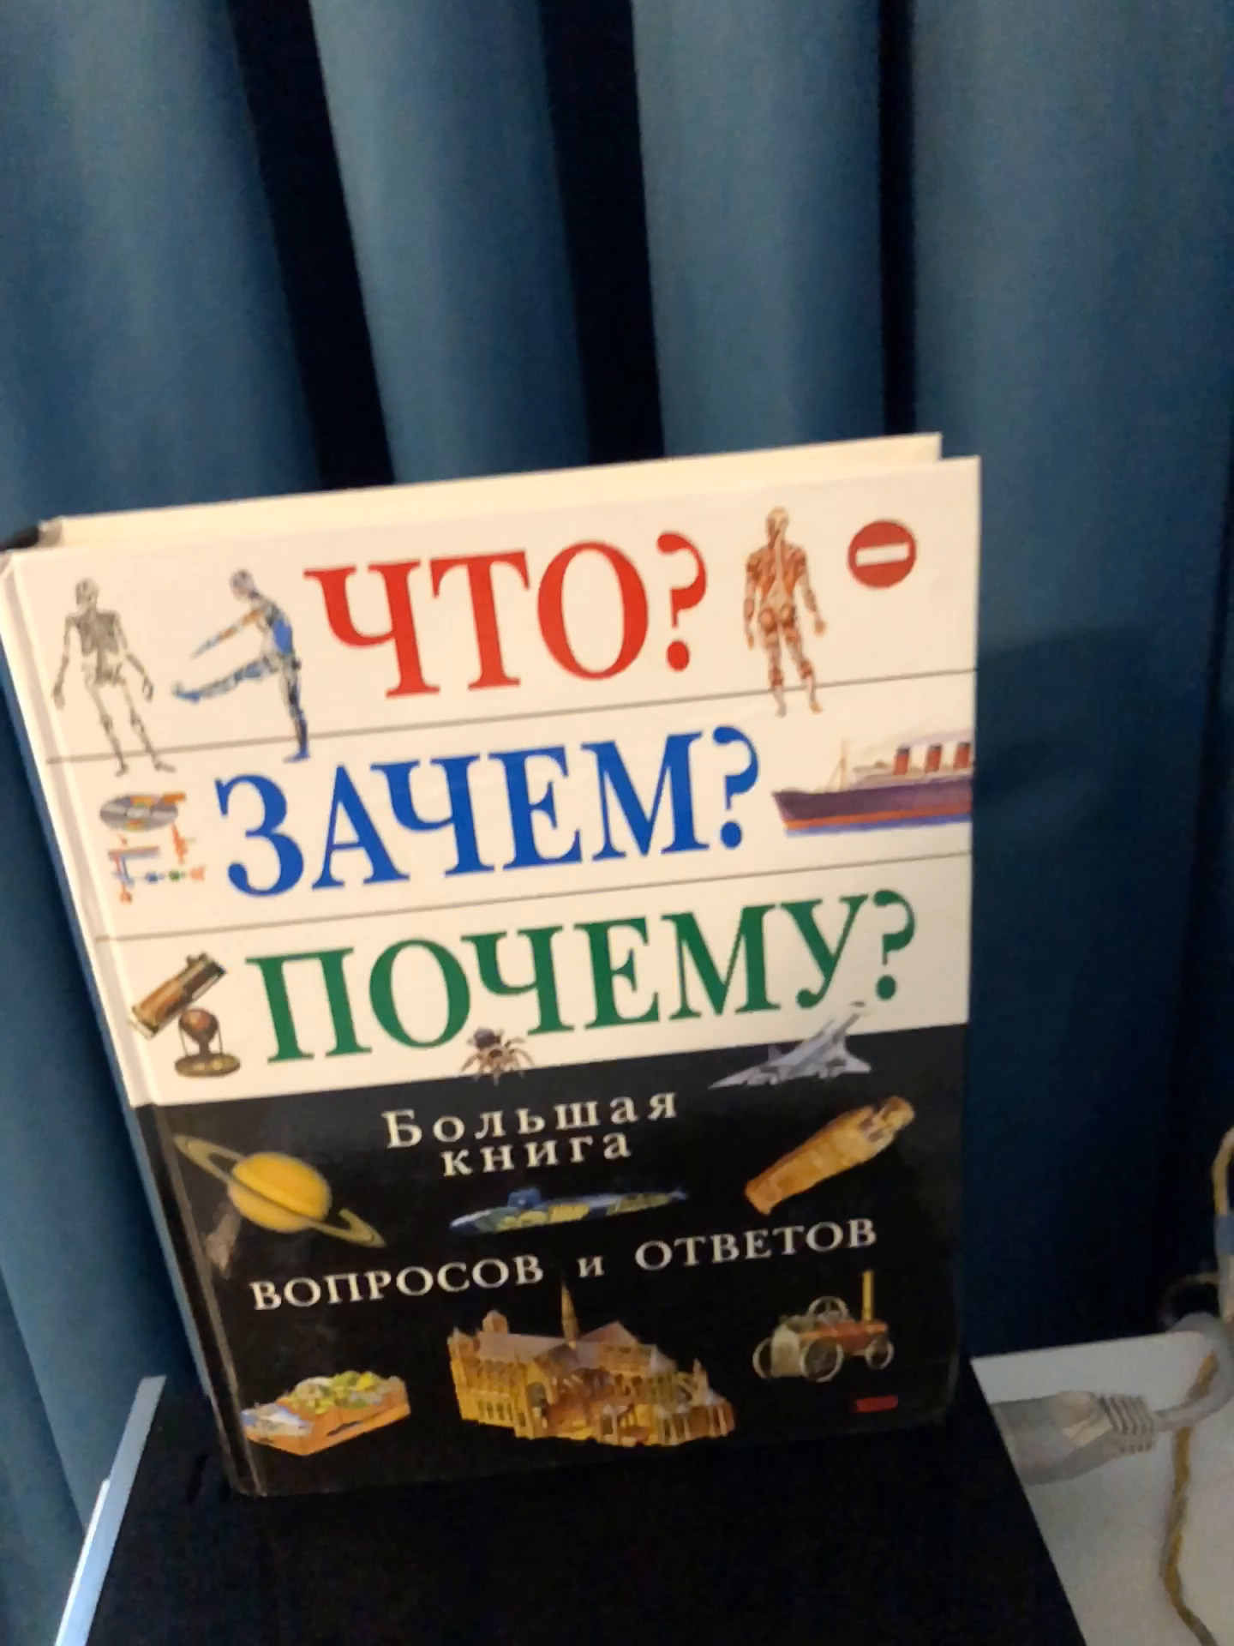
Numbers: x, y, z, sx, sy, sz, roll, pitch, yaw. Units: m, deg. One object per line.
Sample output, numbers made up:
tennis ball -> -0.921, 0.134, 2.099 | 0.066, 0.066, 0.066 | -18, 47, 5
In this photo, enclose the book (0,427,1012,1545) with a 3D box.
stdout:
book -> -0.015, 0.061, 0.370 | 0.224, 0.301, 0.042 | -6, 24, -1
